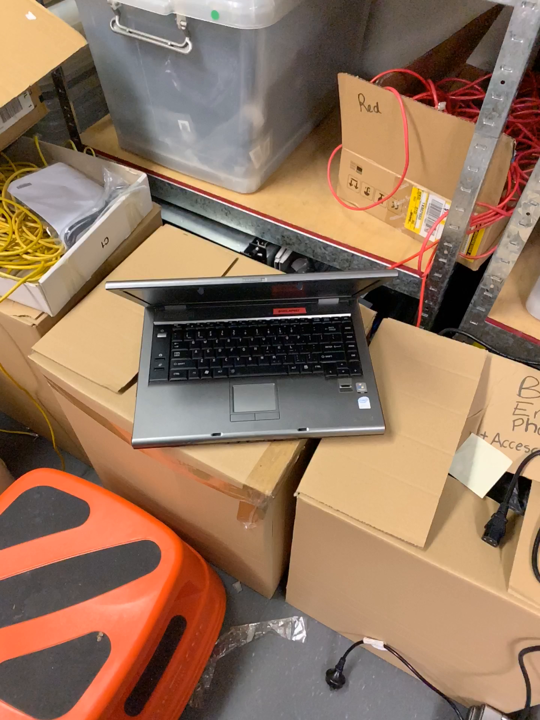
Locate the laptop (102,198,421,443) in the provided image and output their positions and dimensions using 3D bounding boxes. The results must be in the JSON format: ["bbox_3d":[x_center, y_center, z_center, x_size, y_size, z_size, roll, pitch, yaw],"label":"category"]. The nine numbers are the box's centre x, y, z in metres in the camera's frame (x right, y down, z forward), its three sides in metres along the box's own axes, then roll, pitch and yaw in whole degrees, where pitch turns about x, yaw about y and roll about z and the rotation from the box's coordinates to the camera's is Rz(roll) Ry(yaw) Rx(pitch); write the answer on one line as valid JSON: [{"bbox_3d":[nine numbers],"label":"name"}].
[{"bbox_3d":[-0.019,-0.054,0.765,0.352,0.203,0.254,-3,53,-2],"label":"laptop"}]
